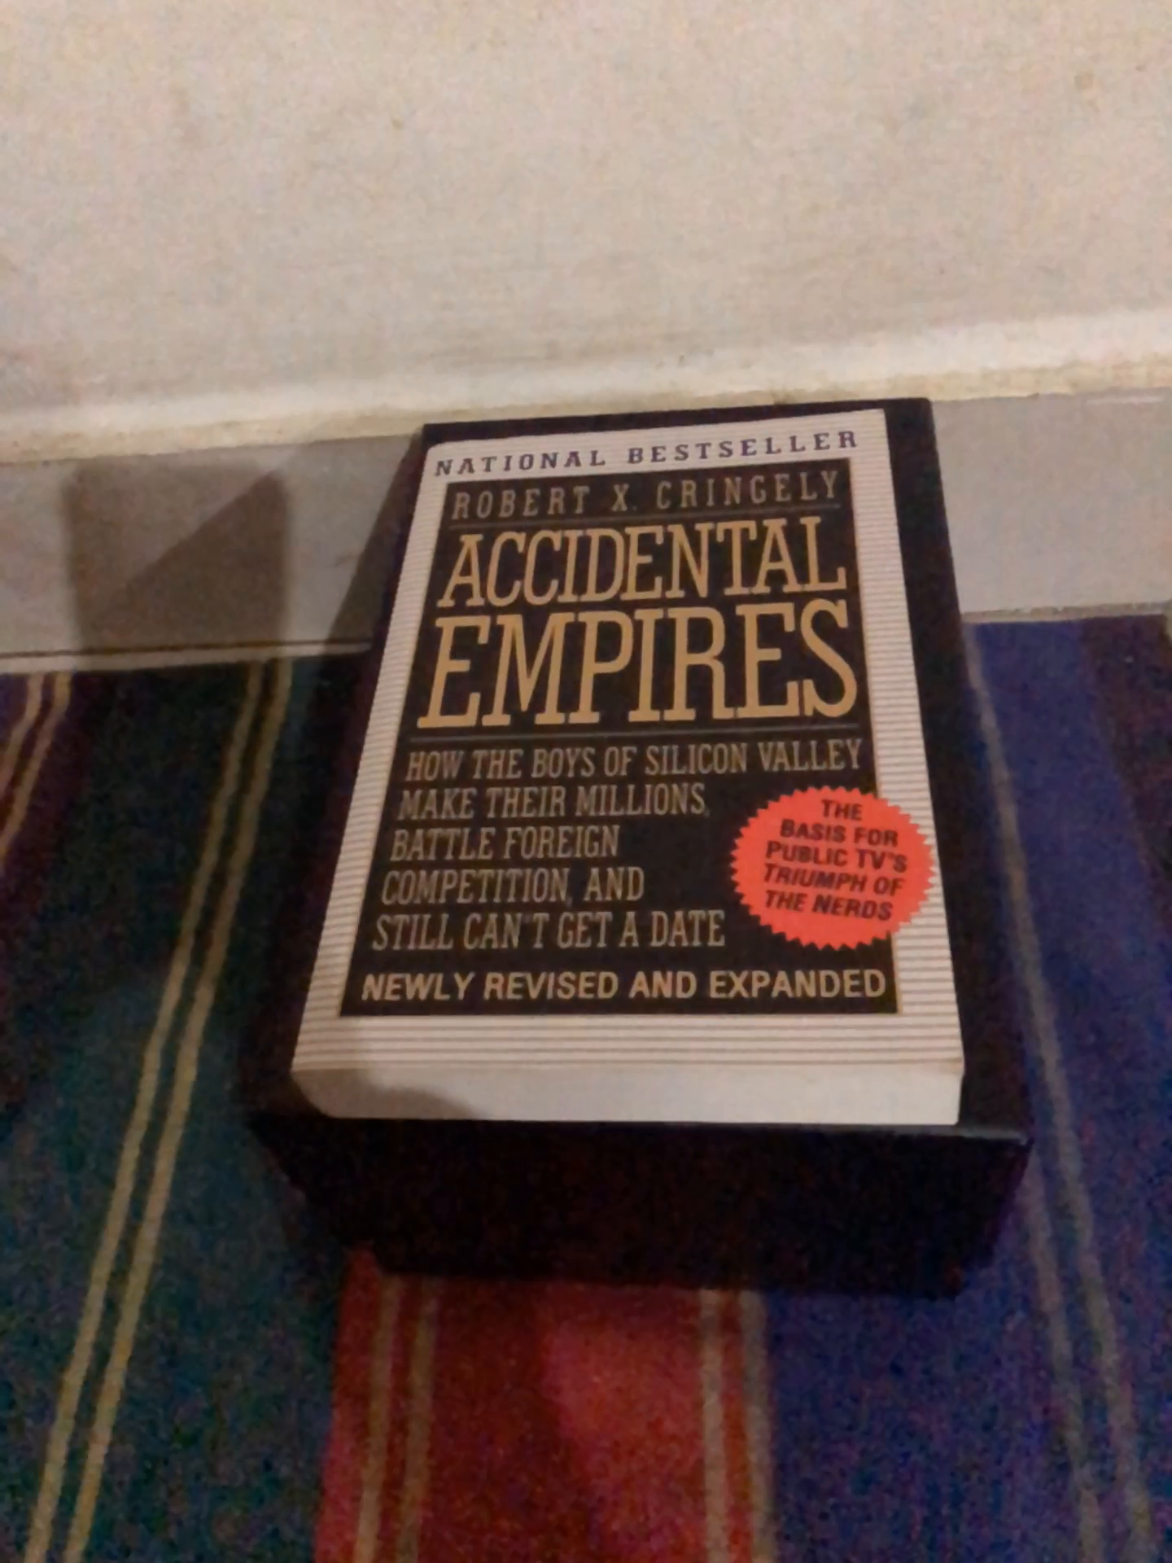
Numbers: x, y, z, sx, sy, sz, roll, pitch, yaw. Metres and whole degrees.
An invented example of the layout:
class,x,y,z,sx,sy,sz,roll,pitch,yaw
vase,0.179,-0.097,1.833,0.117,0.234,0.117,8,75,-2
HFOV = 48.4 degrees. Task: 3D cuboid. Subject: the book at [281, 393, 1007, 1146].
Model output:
class,x,y,z,sx,sy,sz,roll,pitch,yaw
book,0.016,-0.014,0.308,0.130,0.040,0.191,-1,51,7
